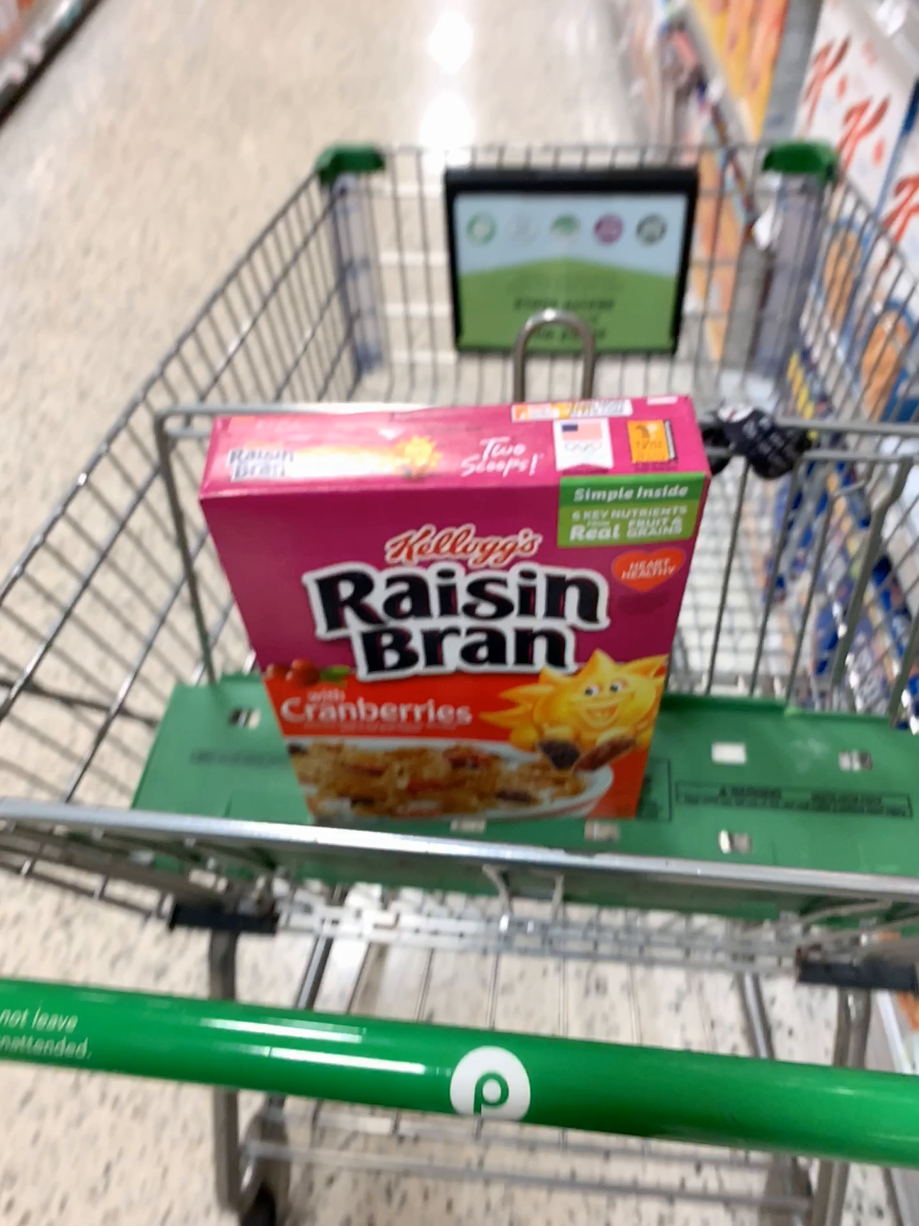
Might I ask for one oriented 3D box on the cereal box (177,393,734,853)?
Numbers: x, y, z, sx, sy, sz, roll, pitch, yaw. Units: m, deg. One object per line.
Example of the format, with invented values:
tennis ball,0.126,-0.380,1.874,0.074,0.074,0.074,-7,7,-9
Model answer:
cereal box,0.004,0.033,0.506,0.210,0.327,0.050,-2,52,1
